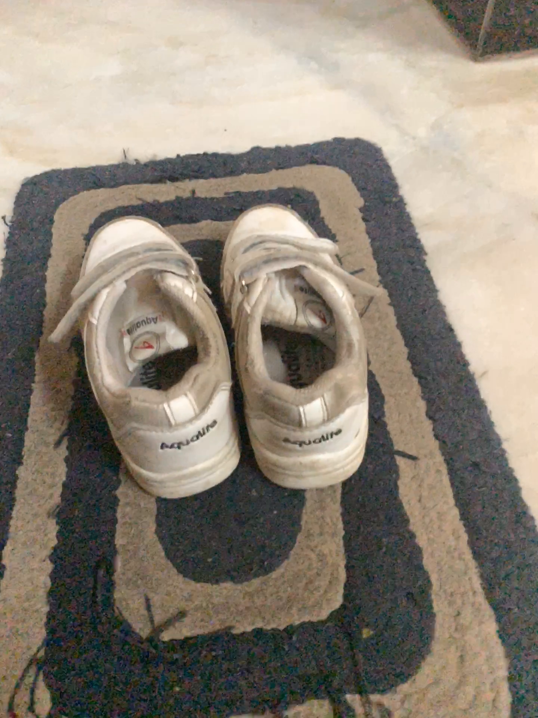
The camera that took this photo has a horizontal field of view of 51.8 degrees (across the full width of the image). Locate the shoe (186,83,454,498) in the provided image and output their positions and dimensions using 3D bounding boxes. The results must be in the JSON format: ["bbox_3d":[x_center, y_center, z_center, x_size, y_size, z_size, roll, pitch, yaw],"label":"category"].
[{"bbox_3d":[0.011,-0.046,0.292,0.080,0.089,0.201,-9,54,-4],"label":"shoe"}]

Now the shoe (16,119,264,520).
[{"bbox_3d":[-0.072,-0.030,0.300,0.080,0.089,0.191,-16,55,-9],"label":"shoe"}]
